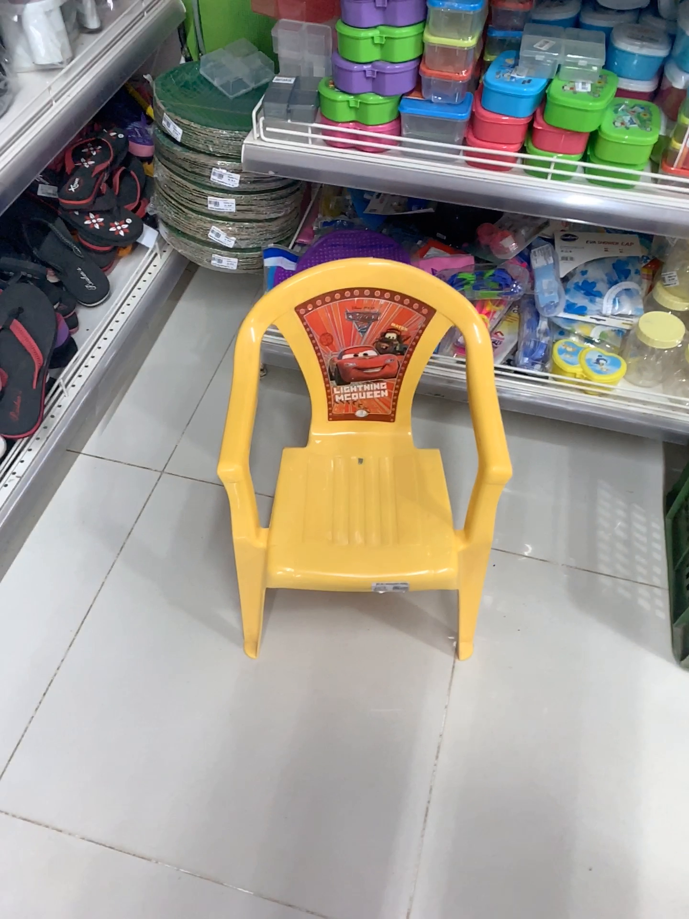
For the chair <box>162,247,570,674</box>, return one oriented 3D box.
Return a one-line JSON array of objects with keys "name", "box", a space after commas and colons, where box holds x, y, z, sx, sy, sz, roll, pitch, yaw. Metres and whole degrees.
[{"name": "chair", "box": [0.024, 0.028, 0.983, 0.390, 0.499, 0.371, 0, 53, 1]}]
